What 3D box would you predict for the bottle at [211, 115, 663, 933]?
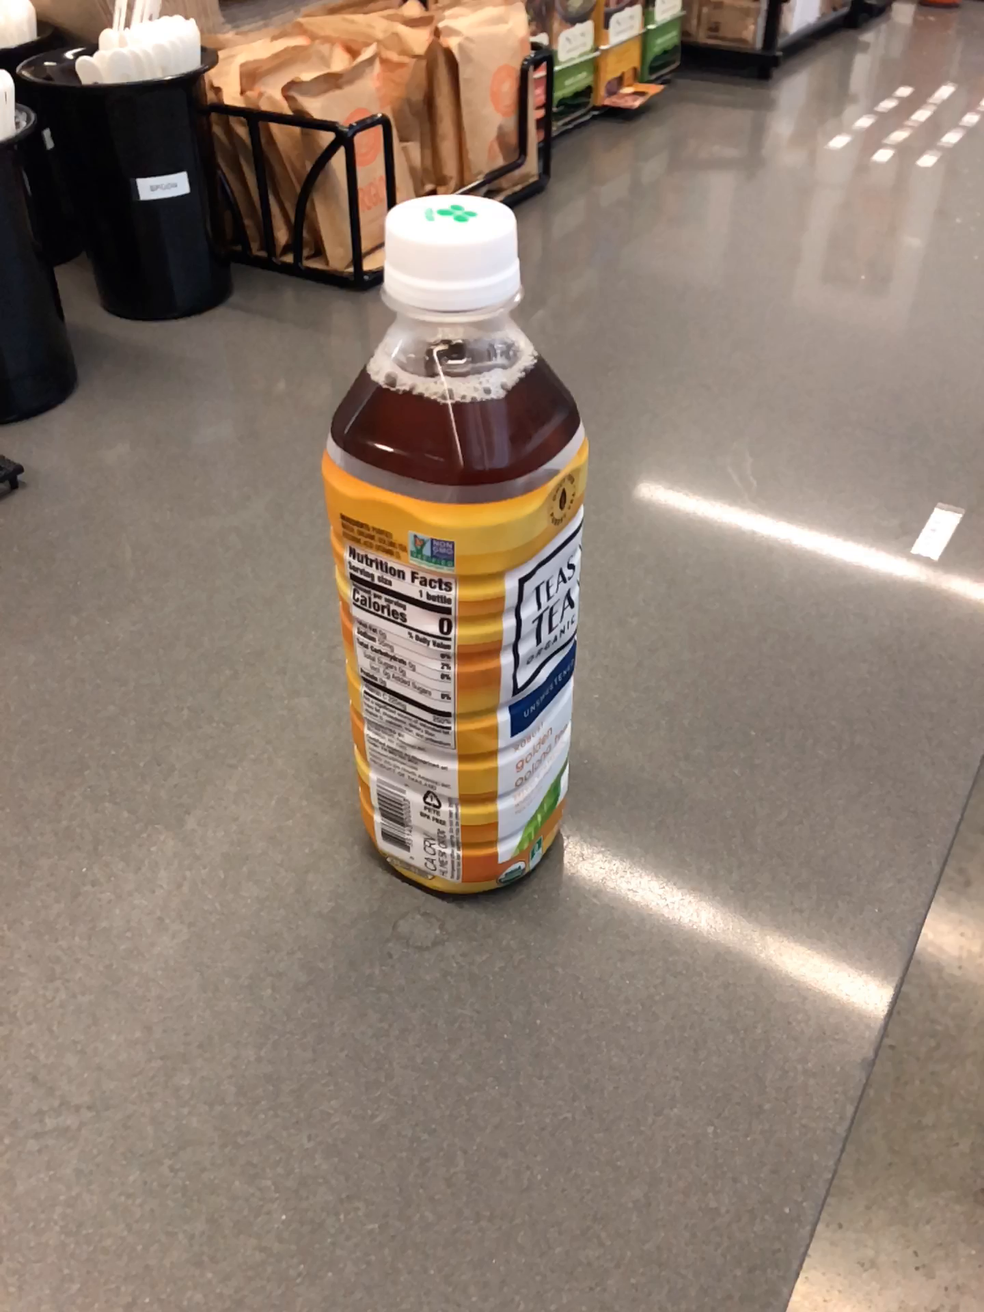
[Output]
[{"bbox_3d":[-0.008,-0.025,0.294,0.070,0.199,0.070,0,40,0],"label":"bottle"}]
